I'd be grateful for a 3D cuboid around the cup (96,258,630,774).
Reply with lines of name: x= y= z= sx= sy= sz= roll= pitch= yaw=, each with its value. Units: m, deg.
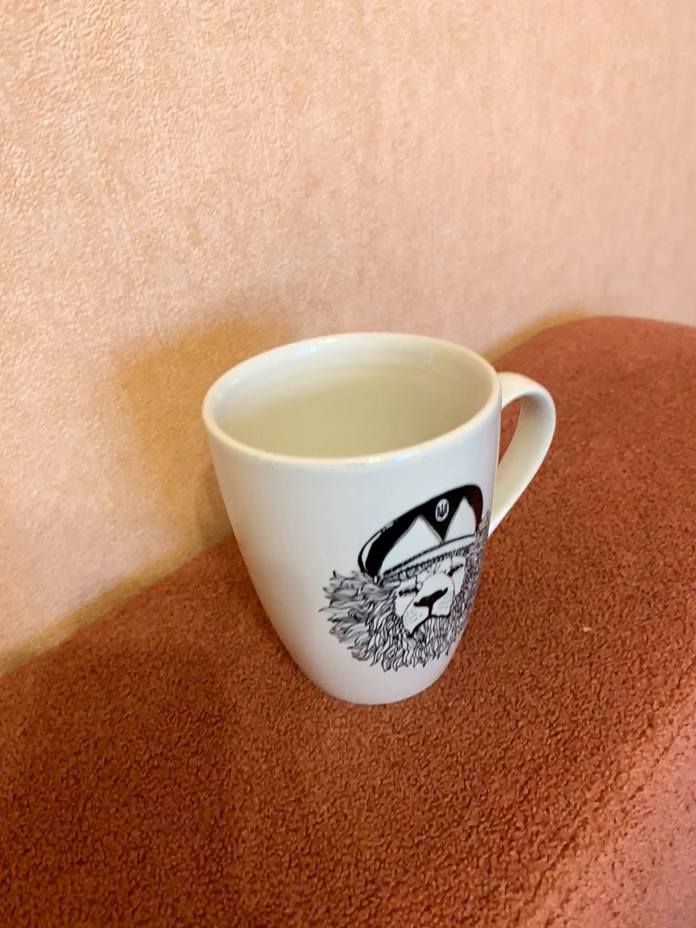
cup: x=0.004 y=0.004 z=0.247 sx=0.126 sy=0.095 sz=0.106 roll=-23 pitch=37 yaw=-23
